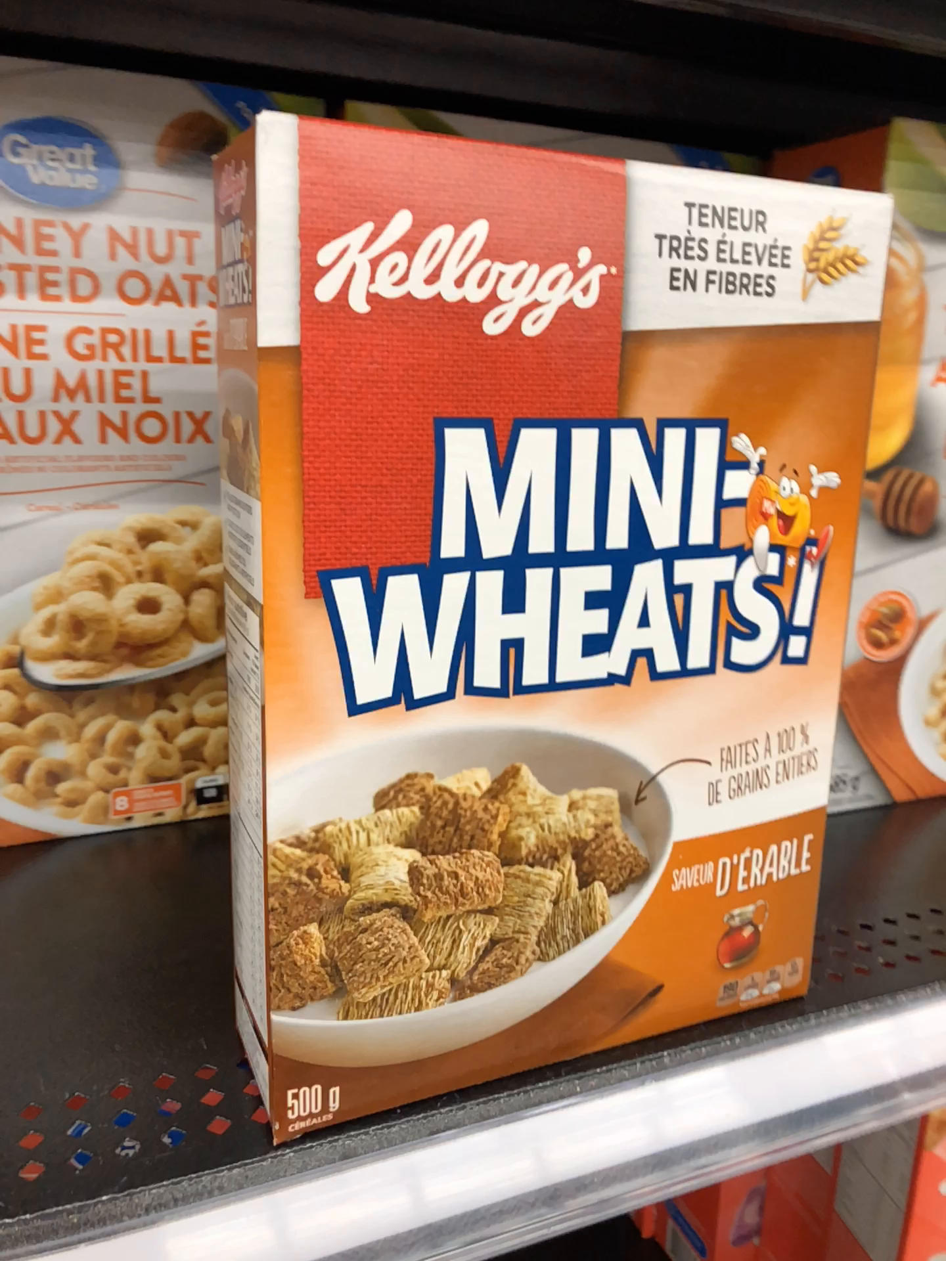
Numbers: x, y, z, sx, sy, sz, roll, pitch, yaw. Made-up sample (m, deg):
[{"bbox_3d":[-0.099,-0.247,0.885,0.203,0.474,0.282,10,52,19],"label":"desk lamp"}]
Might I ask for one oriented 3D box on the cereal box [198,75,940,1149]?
[{"bbox_3d":[0.027,-0.003,0.321,0.200,0.269,0.060,-4,15,-23],"label":"cereal box"}]
